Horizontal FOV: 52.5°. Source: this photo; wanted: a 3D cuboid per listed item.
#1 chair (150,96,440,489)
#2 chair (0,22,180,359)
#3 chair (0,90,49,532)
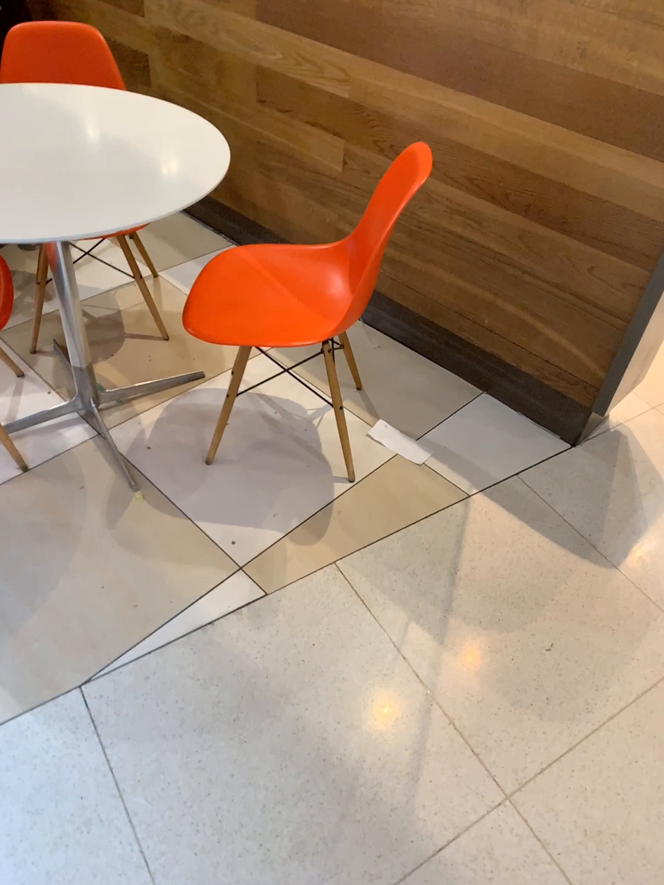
[{"bbox_3d":[-0.077,-0.335,1.620,0.520,0.742,0.452,6,43,0],"label":"chair"},{"bbox_3d":[-0.738,-0.727,1.960,0.448,0.742,0.525,-10,46,-16],"label":"chair"},{"bbox_3d":[-0.982,-0.278,1.467,0.511,0.762,0.451,-12,46,-19],"label":"chair"}]
